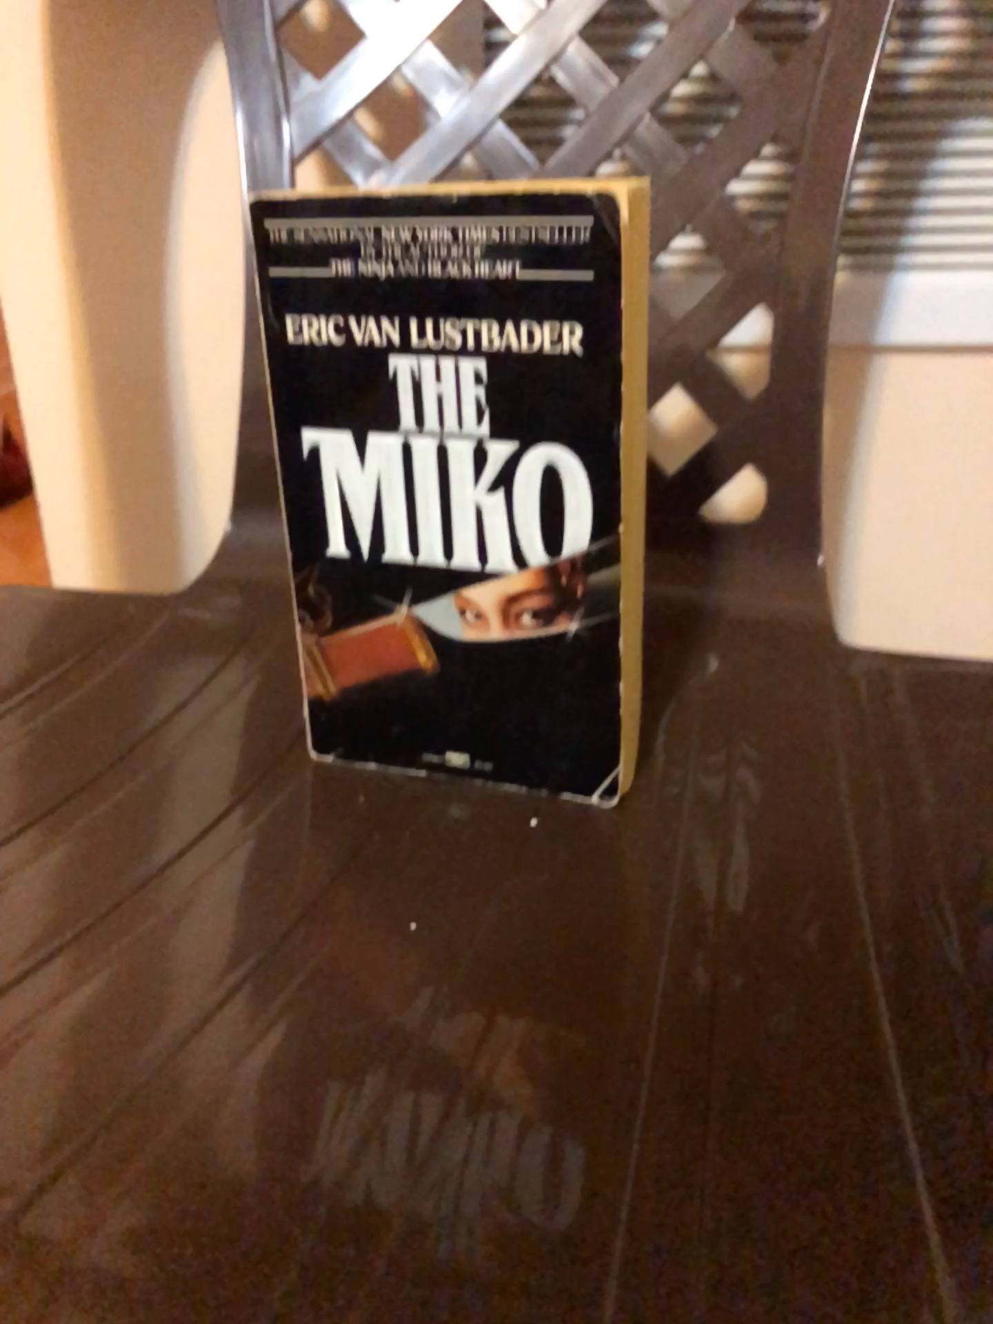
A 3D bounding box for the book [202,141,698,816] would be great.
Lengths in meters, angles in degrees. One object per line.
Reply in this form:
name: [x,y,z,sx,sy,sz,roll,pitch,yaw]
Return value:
book: [-0.013,-0.051,0.312,0.120,0.169,0.040,7,21,17]
